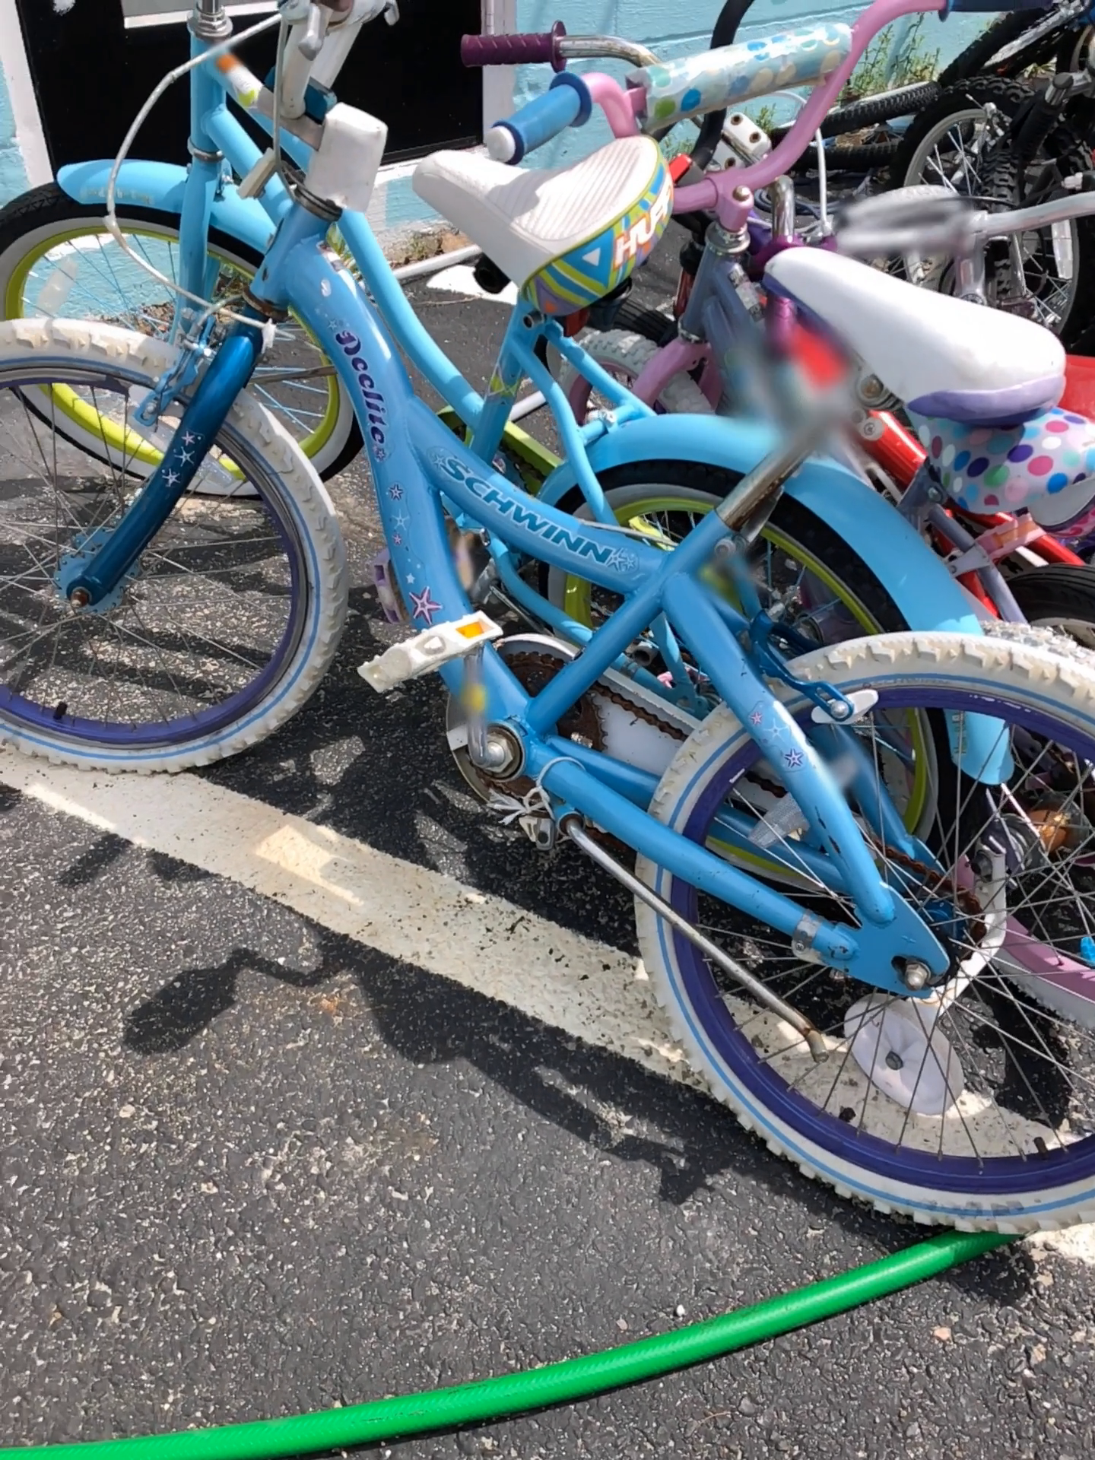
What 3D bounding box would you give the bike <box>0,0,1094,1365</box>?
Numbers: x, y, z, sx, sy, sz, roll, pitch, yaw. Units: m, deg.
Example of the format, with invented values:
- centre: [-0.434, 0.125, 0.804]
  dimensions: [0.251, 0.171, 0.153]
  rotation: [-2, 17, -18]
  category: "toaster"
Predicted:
- centre: [0.012, -0.252, 0.927]
  dimensions: [1.266, 0.777, 0.558]
  rotation: [23, 44, 15]
  category: "bike"
